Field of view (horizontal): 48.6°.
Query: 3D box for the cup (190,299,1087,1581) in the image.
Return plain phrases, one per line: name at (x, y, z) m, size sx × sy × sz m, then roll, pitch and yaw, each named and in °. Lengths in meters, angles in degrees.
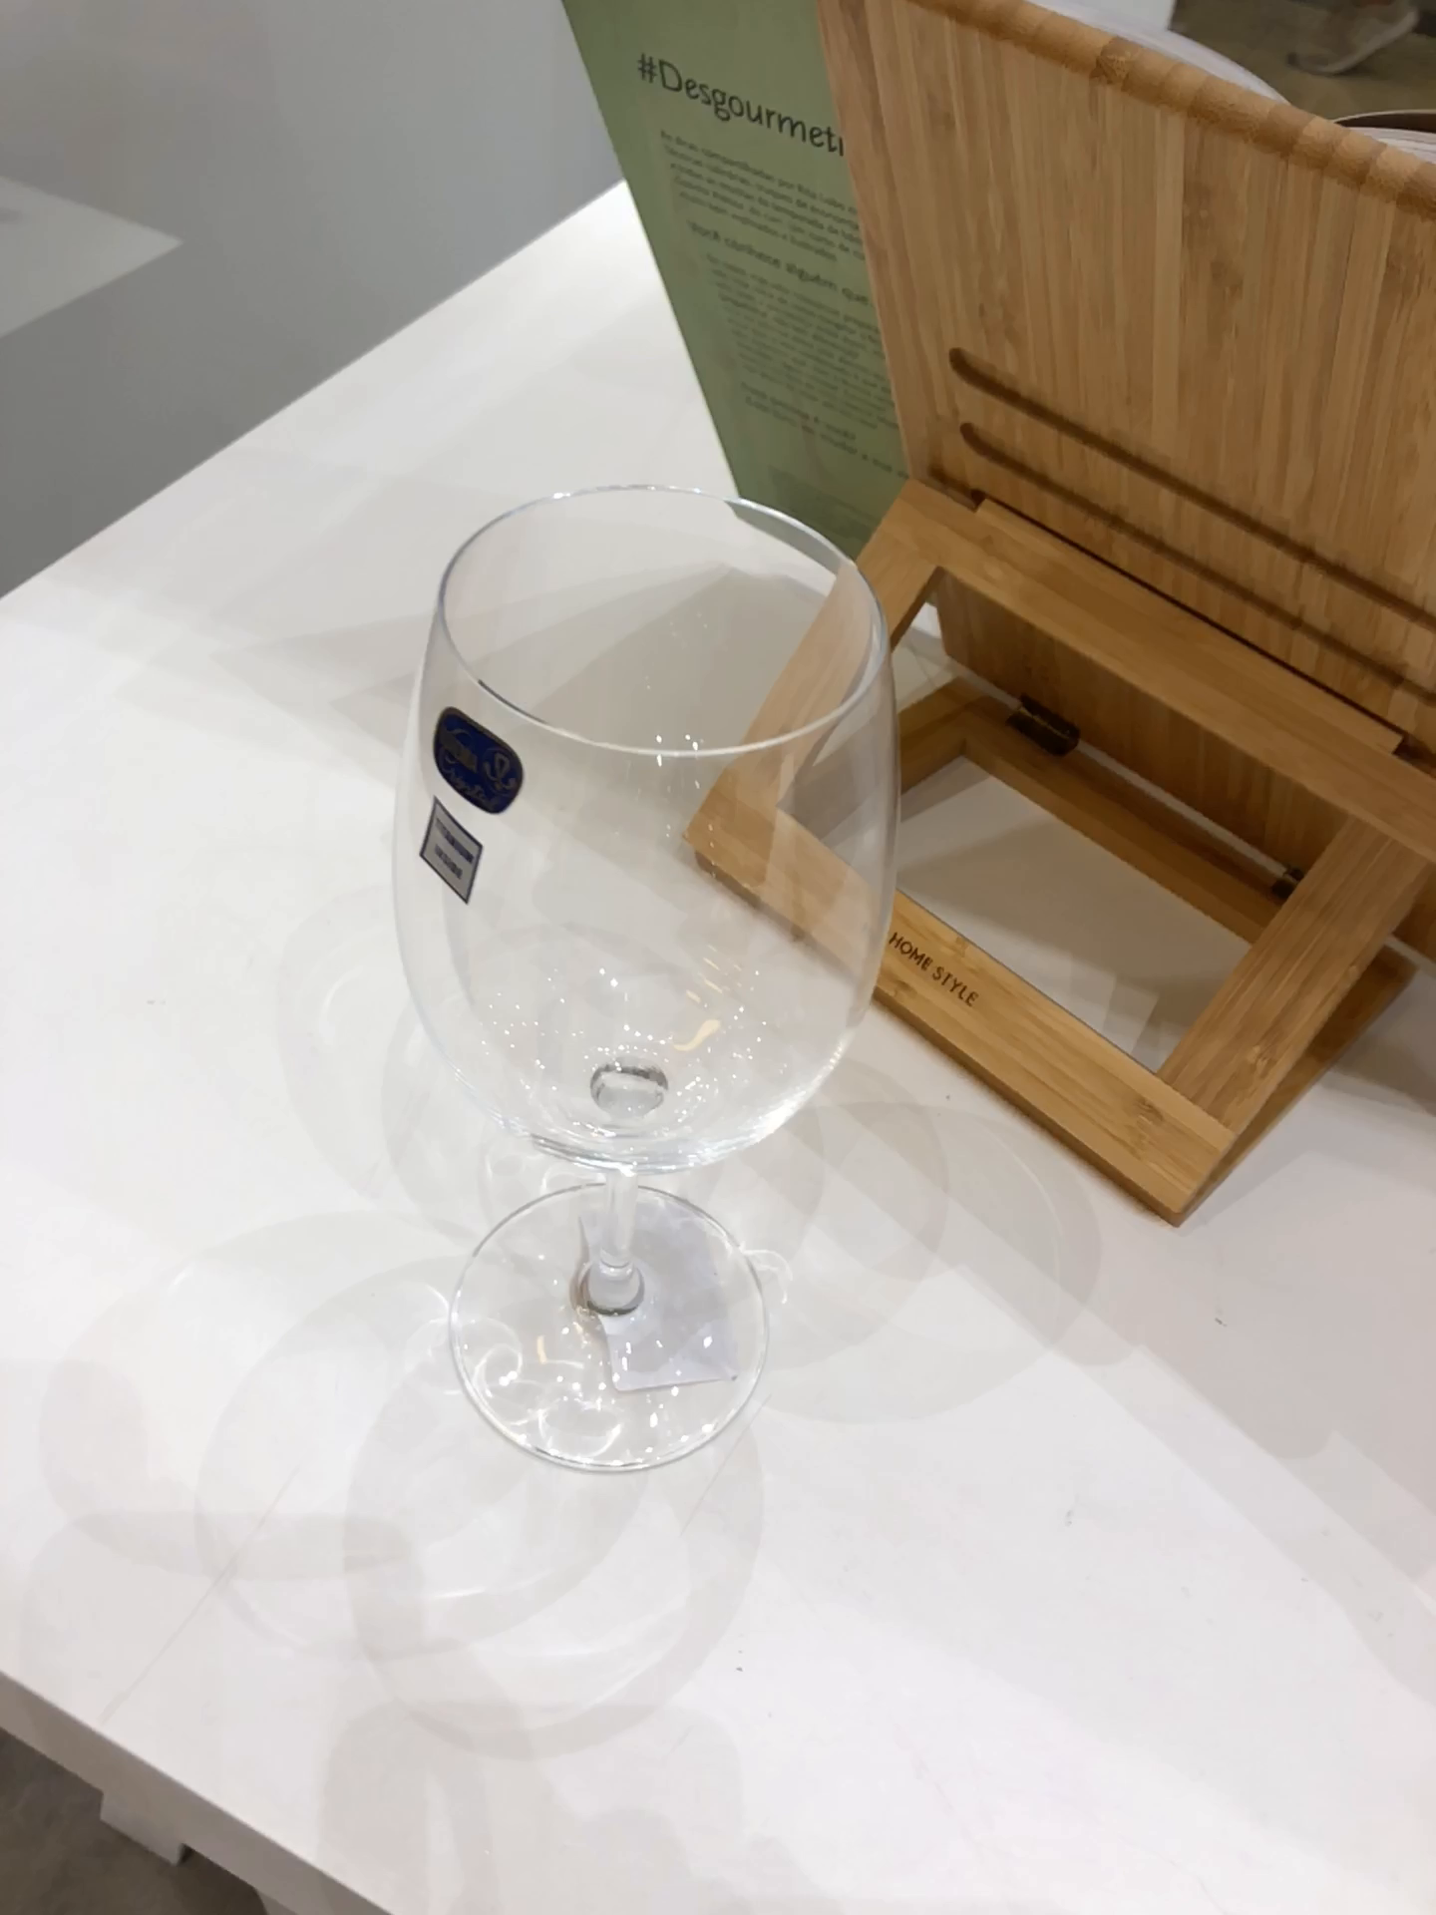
cup at (-0.019, 0.014, 0.322) m, size 0.100 × 0.238 × 0.091 m, roll 27°, pitch 50°, yaw 17°
